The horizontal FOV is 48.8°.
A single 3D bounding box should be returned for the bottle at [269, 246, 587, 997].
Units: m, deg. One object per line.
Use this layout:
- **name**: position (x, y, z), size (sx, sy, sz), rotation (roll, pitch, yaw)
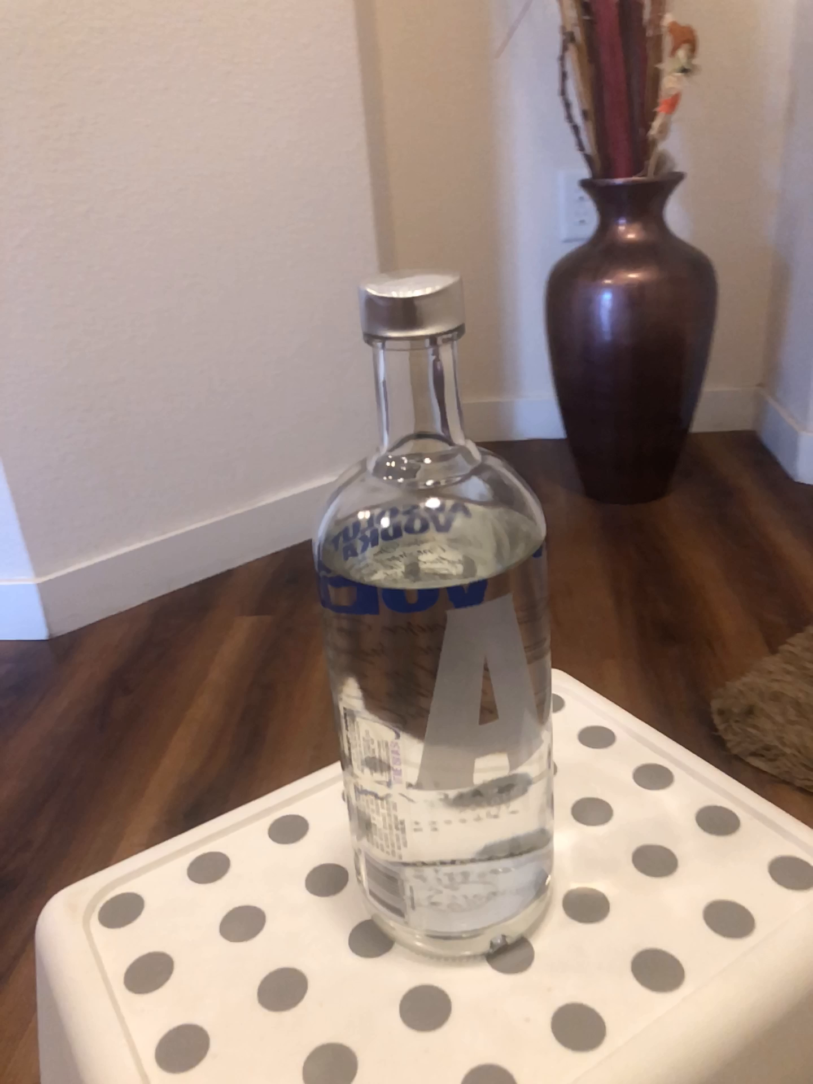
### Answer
- **bottle**: position (0.011, 0.033, 0.354), size (0.090, 0.269, 0.100), rotation (-8, 24, -6)
